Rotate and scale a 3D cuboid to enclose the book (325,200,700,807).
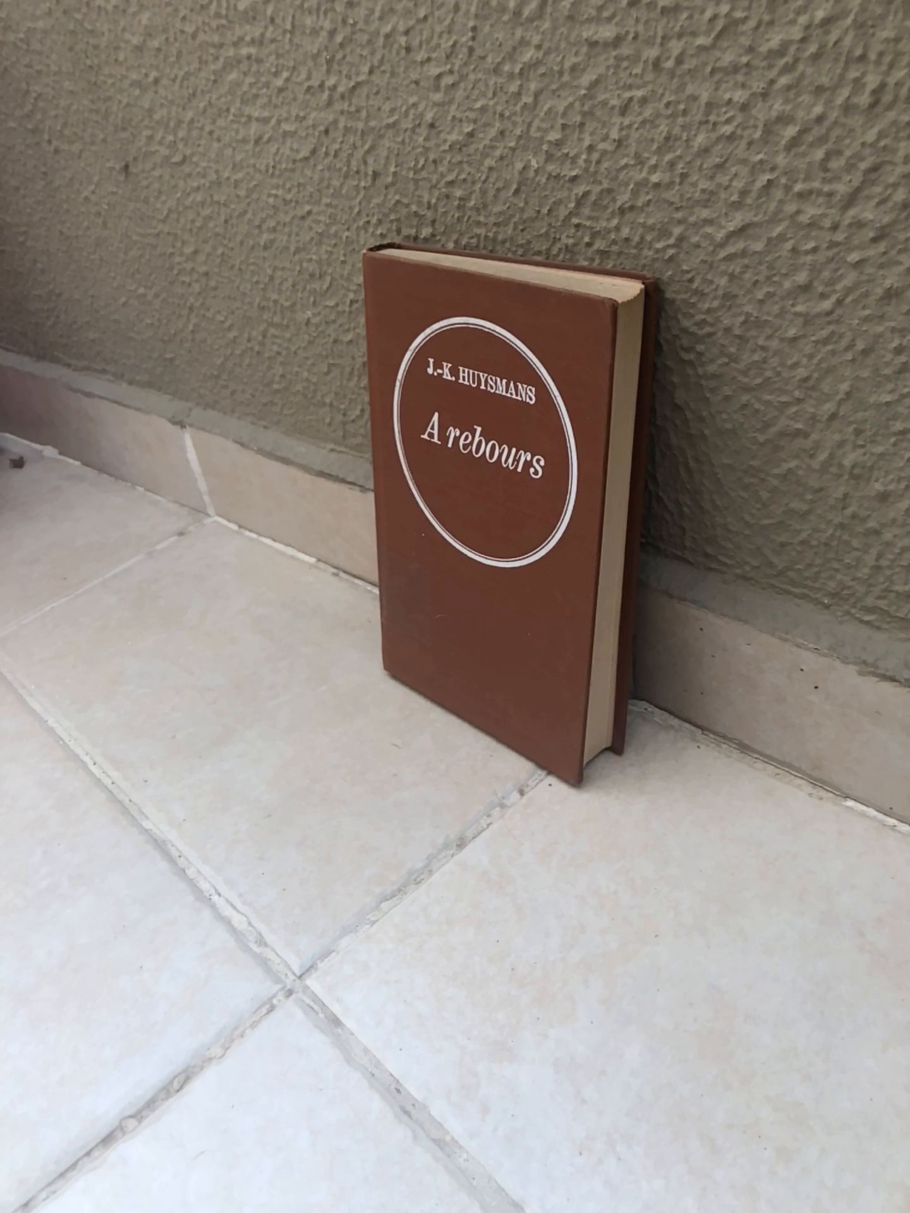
[{"bbox_3d":[0.014,-0.047,0.408,0.040,0.209,0.151,-22,34,-37],"label":"book"}]
